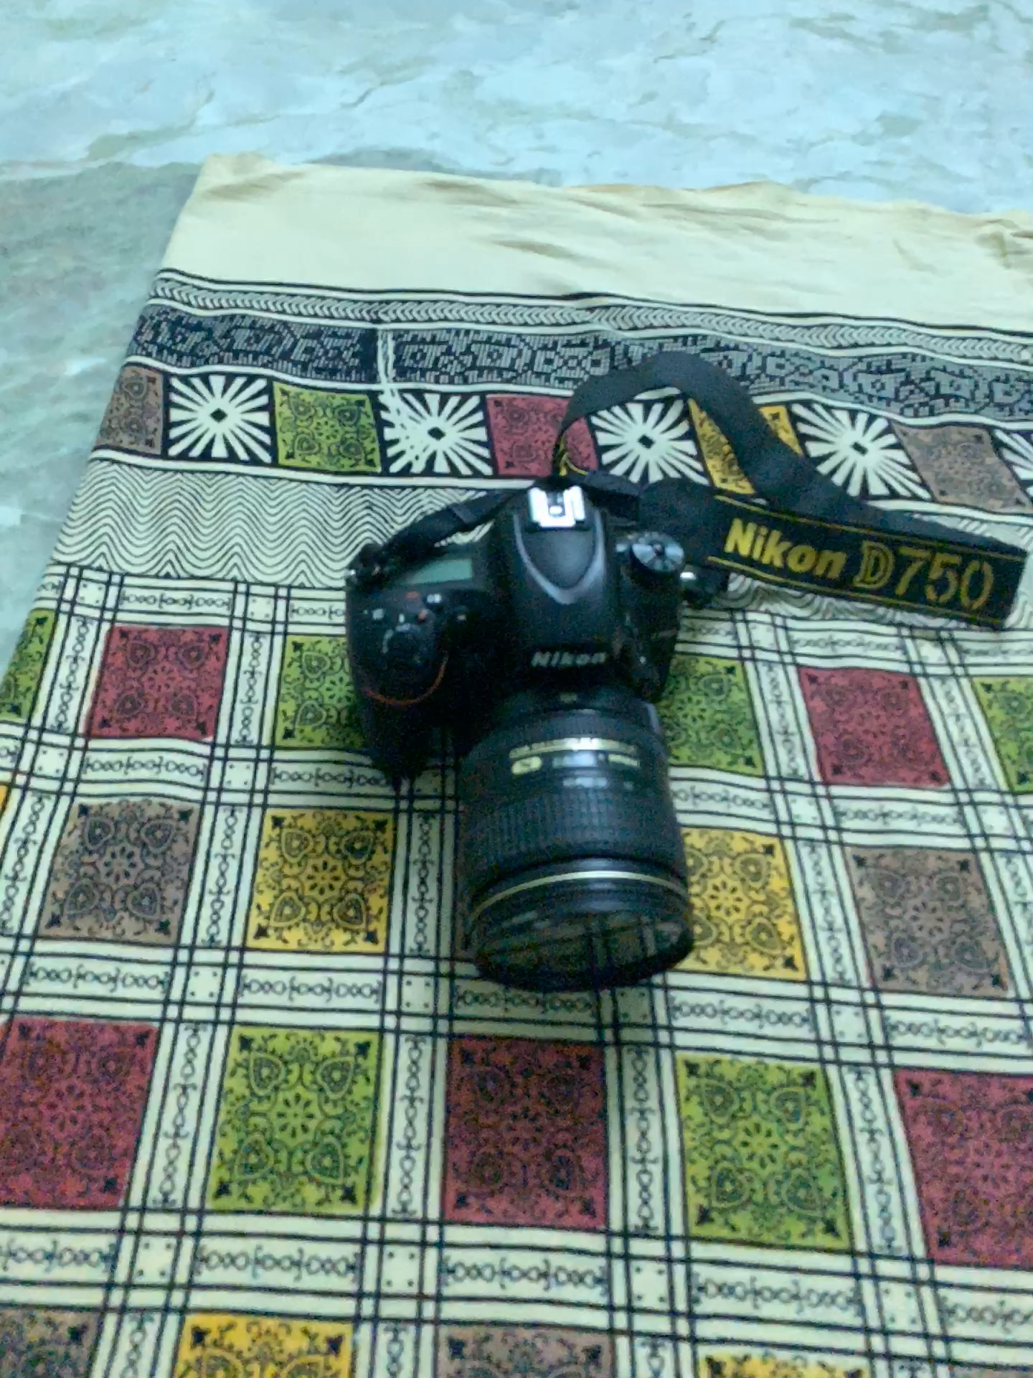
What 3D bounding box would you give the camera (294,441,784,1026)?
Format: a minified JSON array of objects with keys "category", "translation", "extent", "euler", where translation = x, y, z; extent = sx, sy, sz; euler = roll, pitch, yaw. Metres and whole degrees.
[{"category":"camera","translation":[-0.001,0.011,0.394],"extent":[0.140,0.100,0.190],"euler":[-3,54,-4]}]
